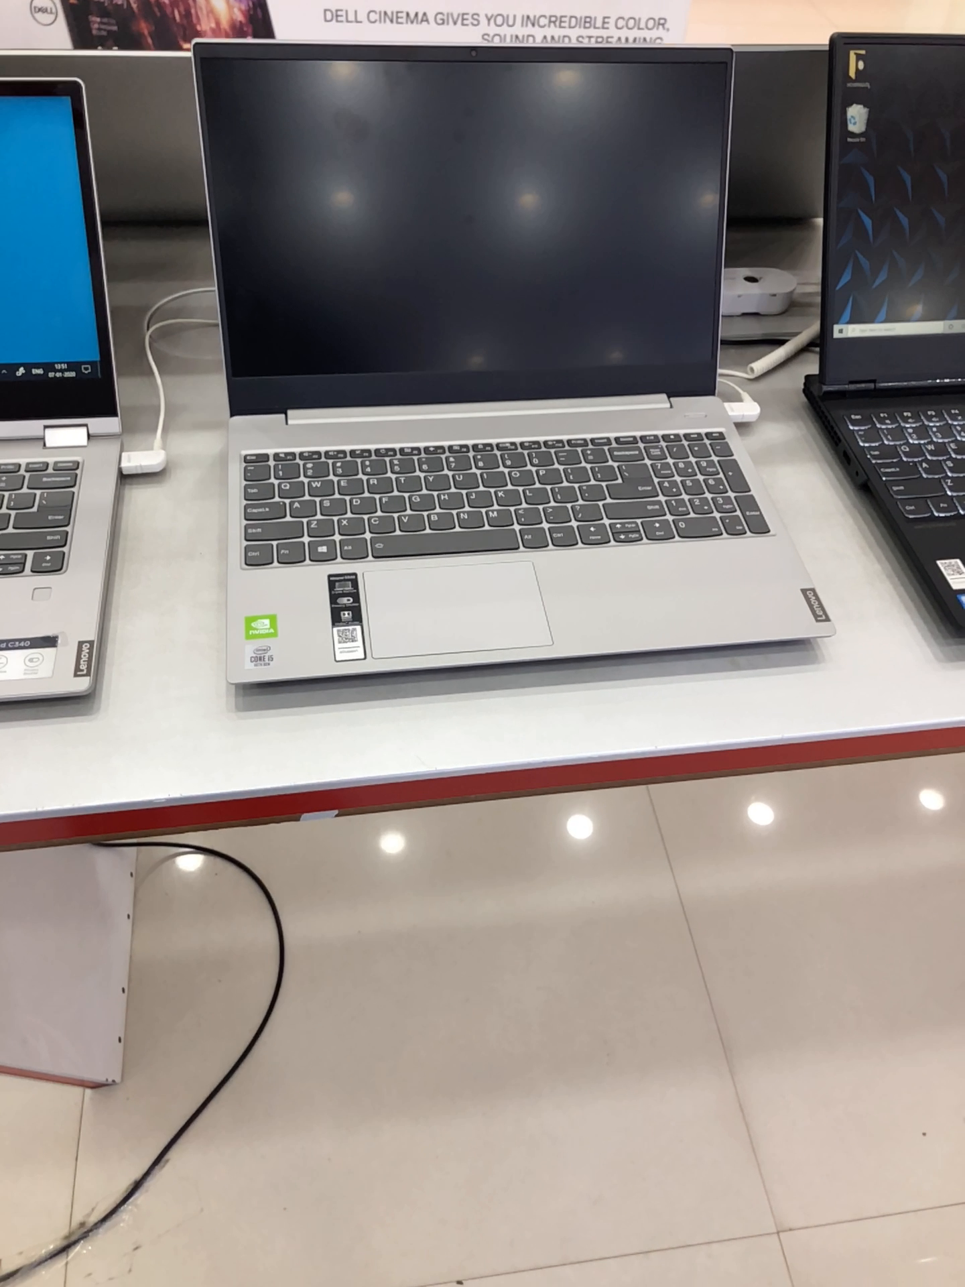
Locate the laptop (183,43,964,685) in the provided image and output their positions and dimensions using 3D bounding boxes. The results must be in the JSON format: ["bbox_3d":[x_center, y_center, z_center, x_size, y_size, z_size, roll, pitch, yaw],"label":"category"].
[{"bbox_3d":[0.016,-0.188,0.634,0.342,0.196,0.346,-5,48,-9],"label":"laptop"}]
